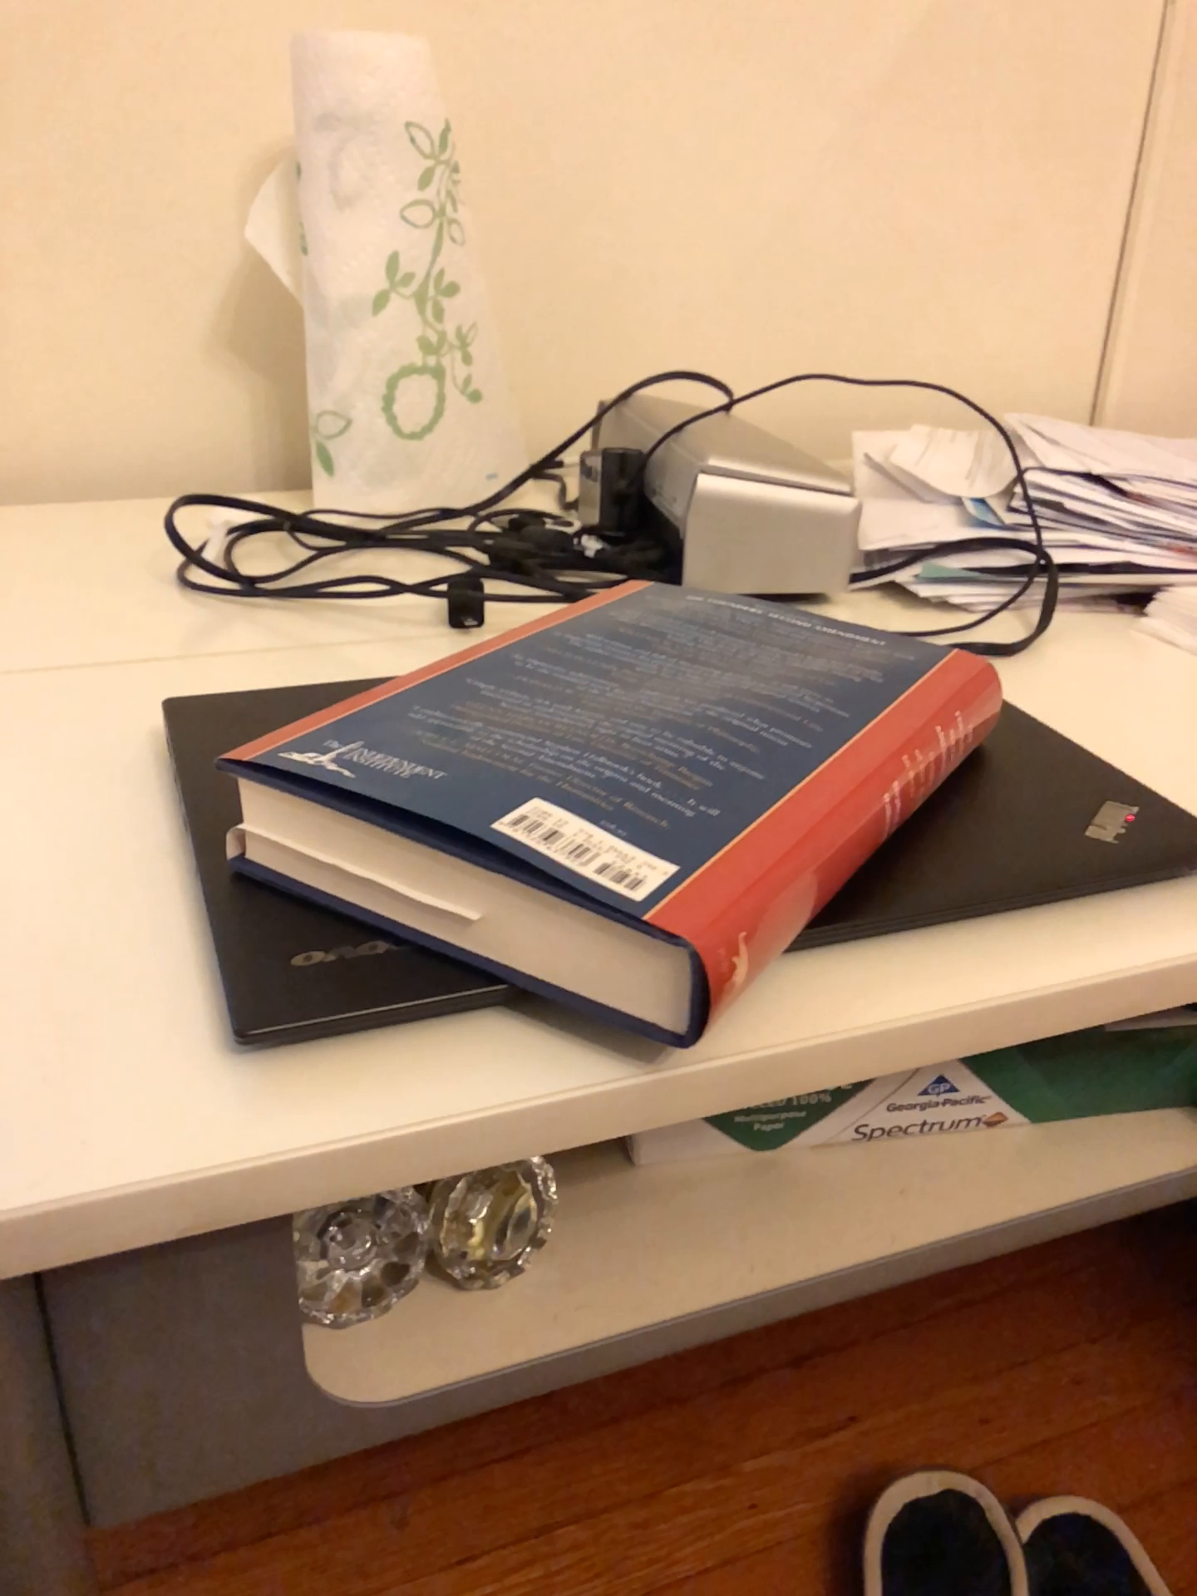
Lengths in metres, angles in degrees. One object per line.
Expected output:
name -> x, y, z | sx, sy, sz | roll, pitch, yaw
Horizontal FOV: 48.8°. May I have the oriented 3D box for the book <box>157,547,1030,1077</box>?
book -> 0.015, -0.020, 0.420 | 0.170, 0.040, 0.241 | 15, 30, 29
